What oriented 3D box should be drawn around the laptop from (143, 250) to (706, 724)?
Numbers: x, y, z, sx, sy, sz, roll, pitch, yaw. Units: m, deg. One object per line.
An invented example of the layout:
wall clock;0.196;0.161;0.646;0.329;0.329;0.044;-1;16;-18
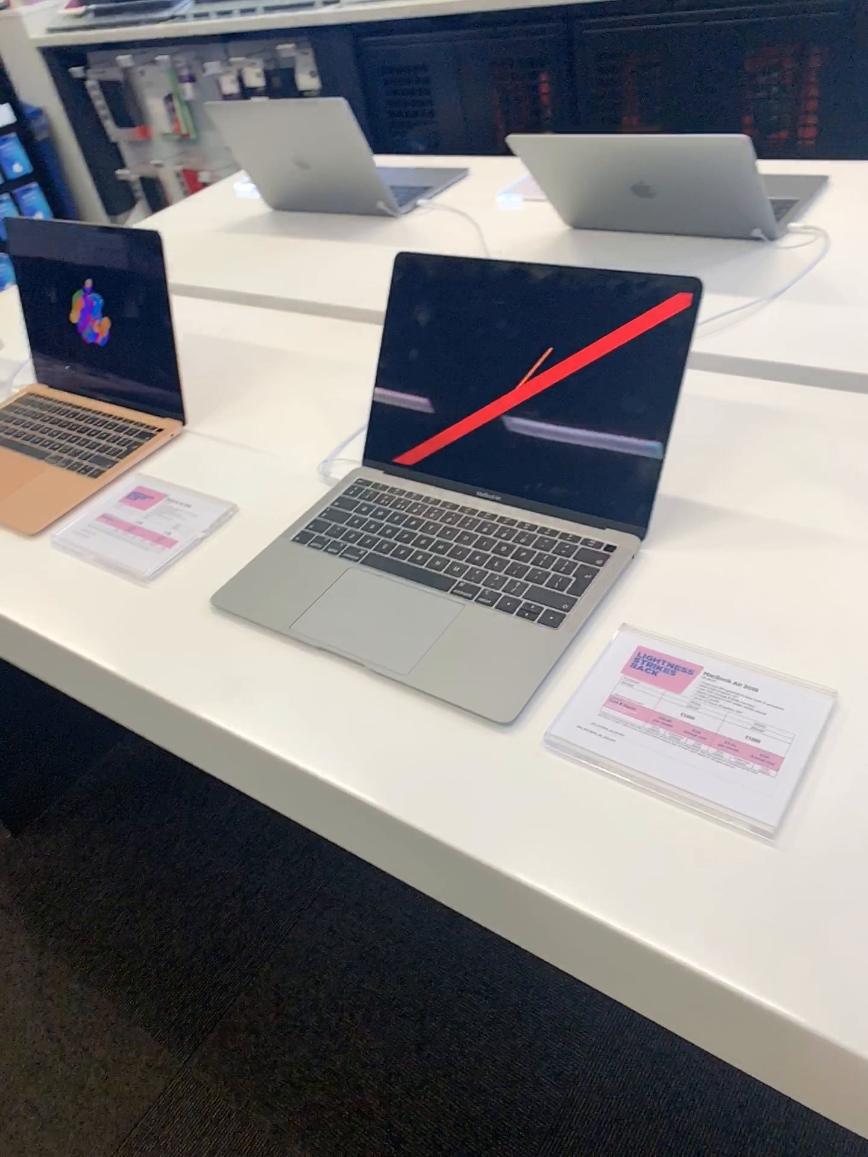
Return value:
laptop;0.012;-0.105;0.706;0.290;0.160;0.330;18;48;32
